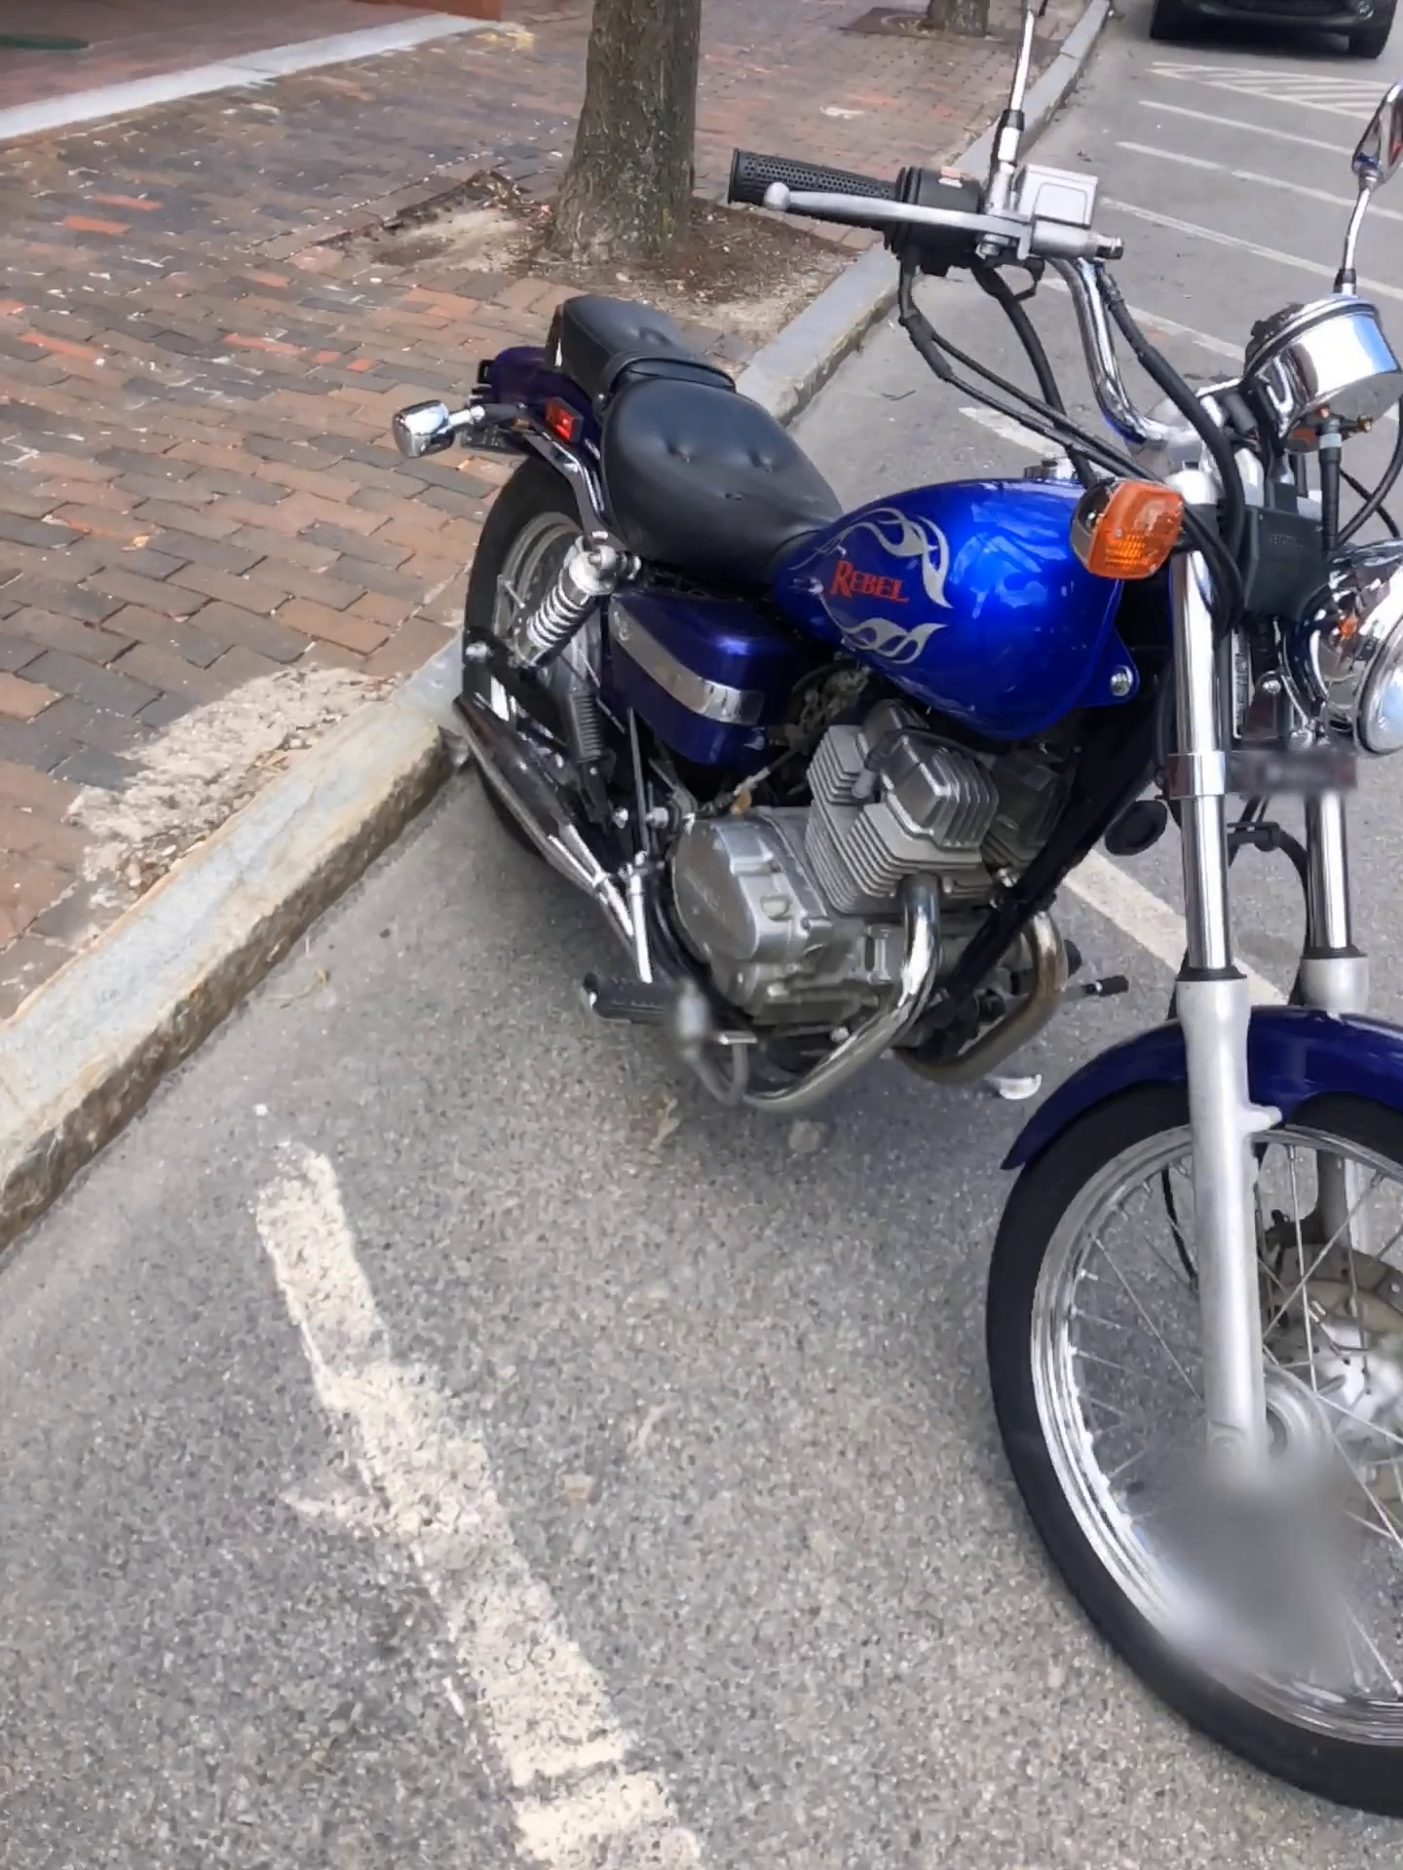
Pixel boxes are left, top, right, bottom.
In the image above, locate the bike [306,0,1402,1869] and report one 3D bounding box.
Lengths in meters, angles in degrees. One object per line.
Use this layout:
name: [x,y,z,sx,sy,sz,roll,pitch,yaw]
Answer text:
bike: [0.329,-0.287,1.559,0.790,1.036,1.914,-14,37,-27]
